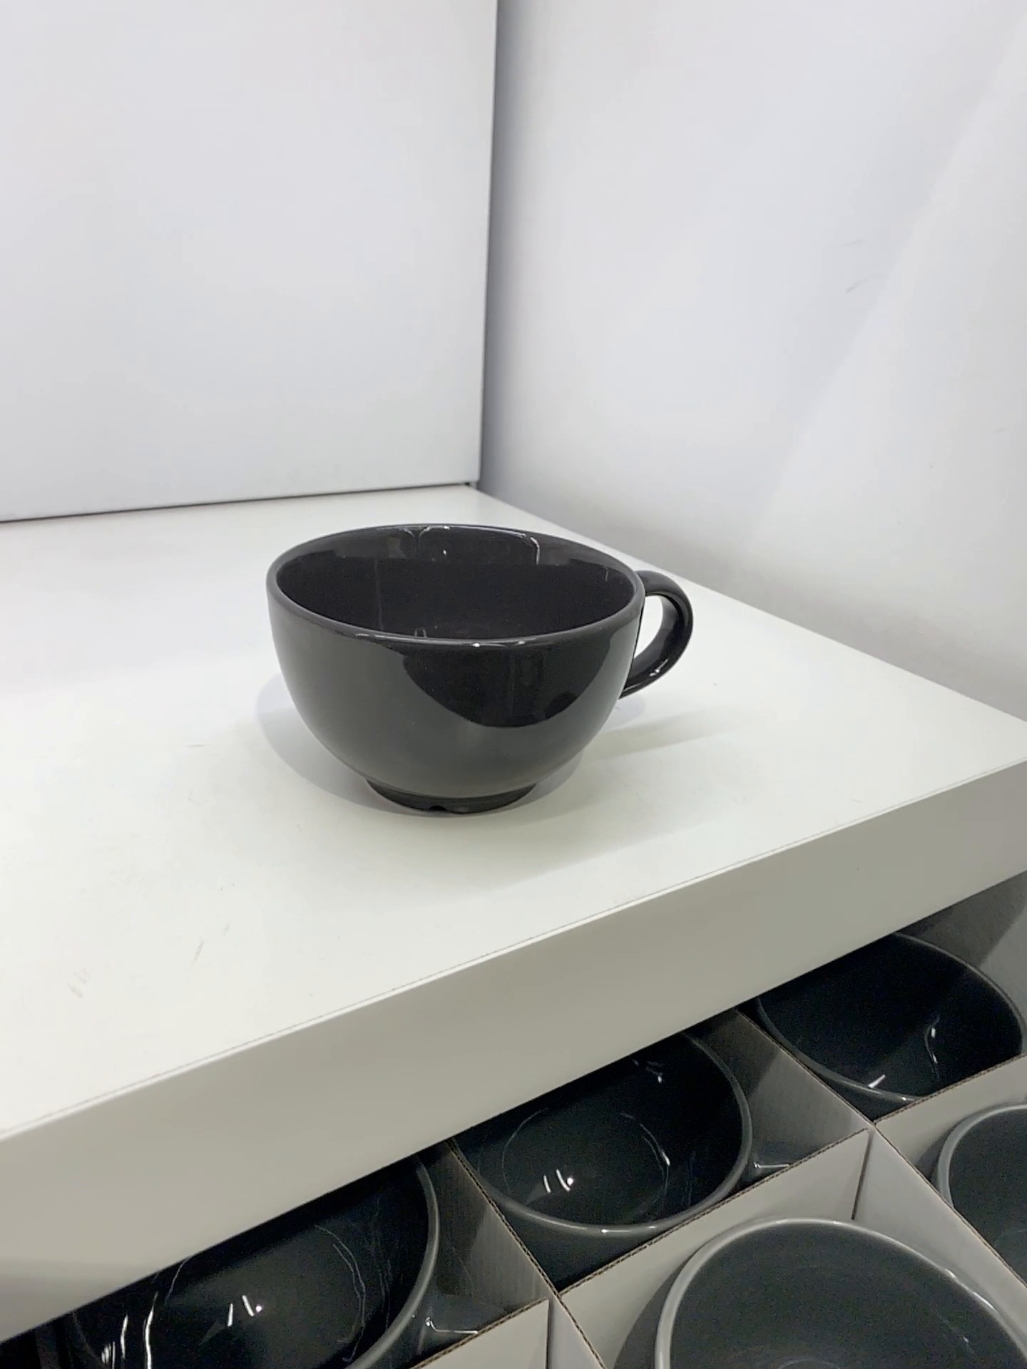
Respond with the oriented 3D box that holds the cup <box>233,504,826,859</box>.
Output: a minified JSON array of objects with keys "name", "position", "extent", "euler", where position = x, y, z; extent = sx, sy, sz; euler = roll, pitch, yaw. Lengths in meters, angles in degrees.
[{"name":"cup","position":[-0.001,-0.012,0.308],"extent":[0.130,0.050,0.110],"euler":[-9,25,-27]}]
